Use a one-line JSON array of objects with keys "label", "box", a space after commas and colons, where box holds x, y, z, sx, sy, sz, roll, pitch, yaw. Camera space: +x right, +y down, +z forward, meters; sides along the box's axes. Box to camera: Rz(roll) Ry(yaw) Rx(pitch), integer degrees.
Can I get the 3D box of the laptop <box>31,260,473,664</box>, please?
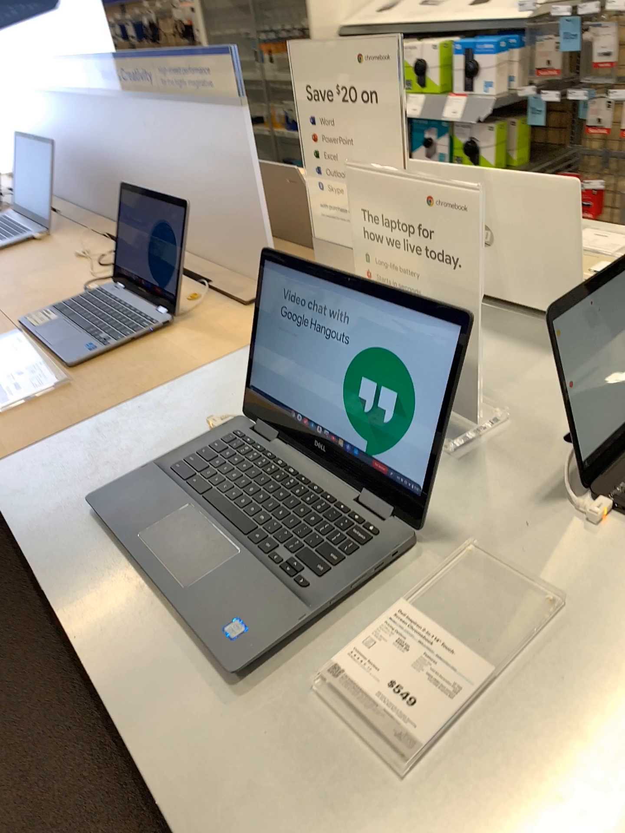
[{"label": "laptop", "box": [-0.059, 0.008, 0.651, 0.292, 0.202, 0.311, -27, 36, -27]}]
